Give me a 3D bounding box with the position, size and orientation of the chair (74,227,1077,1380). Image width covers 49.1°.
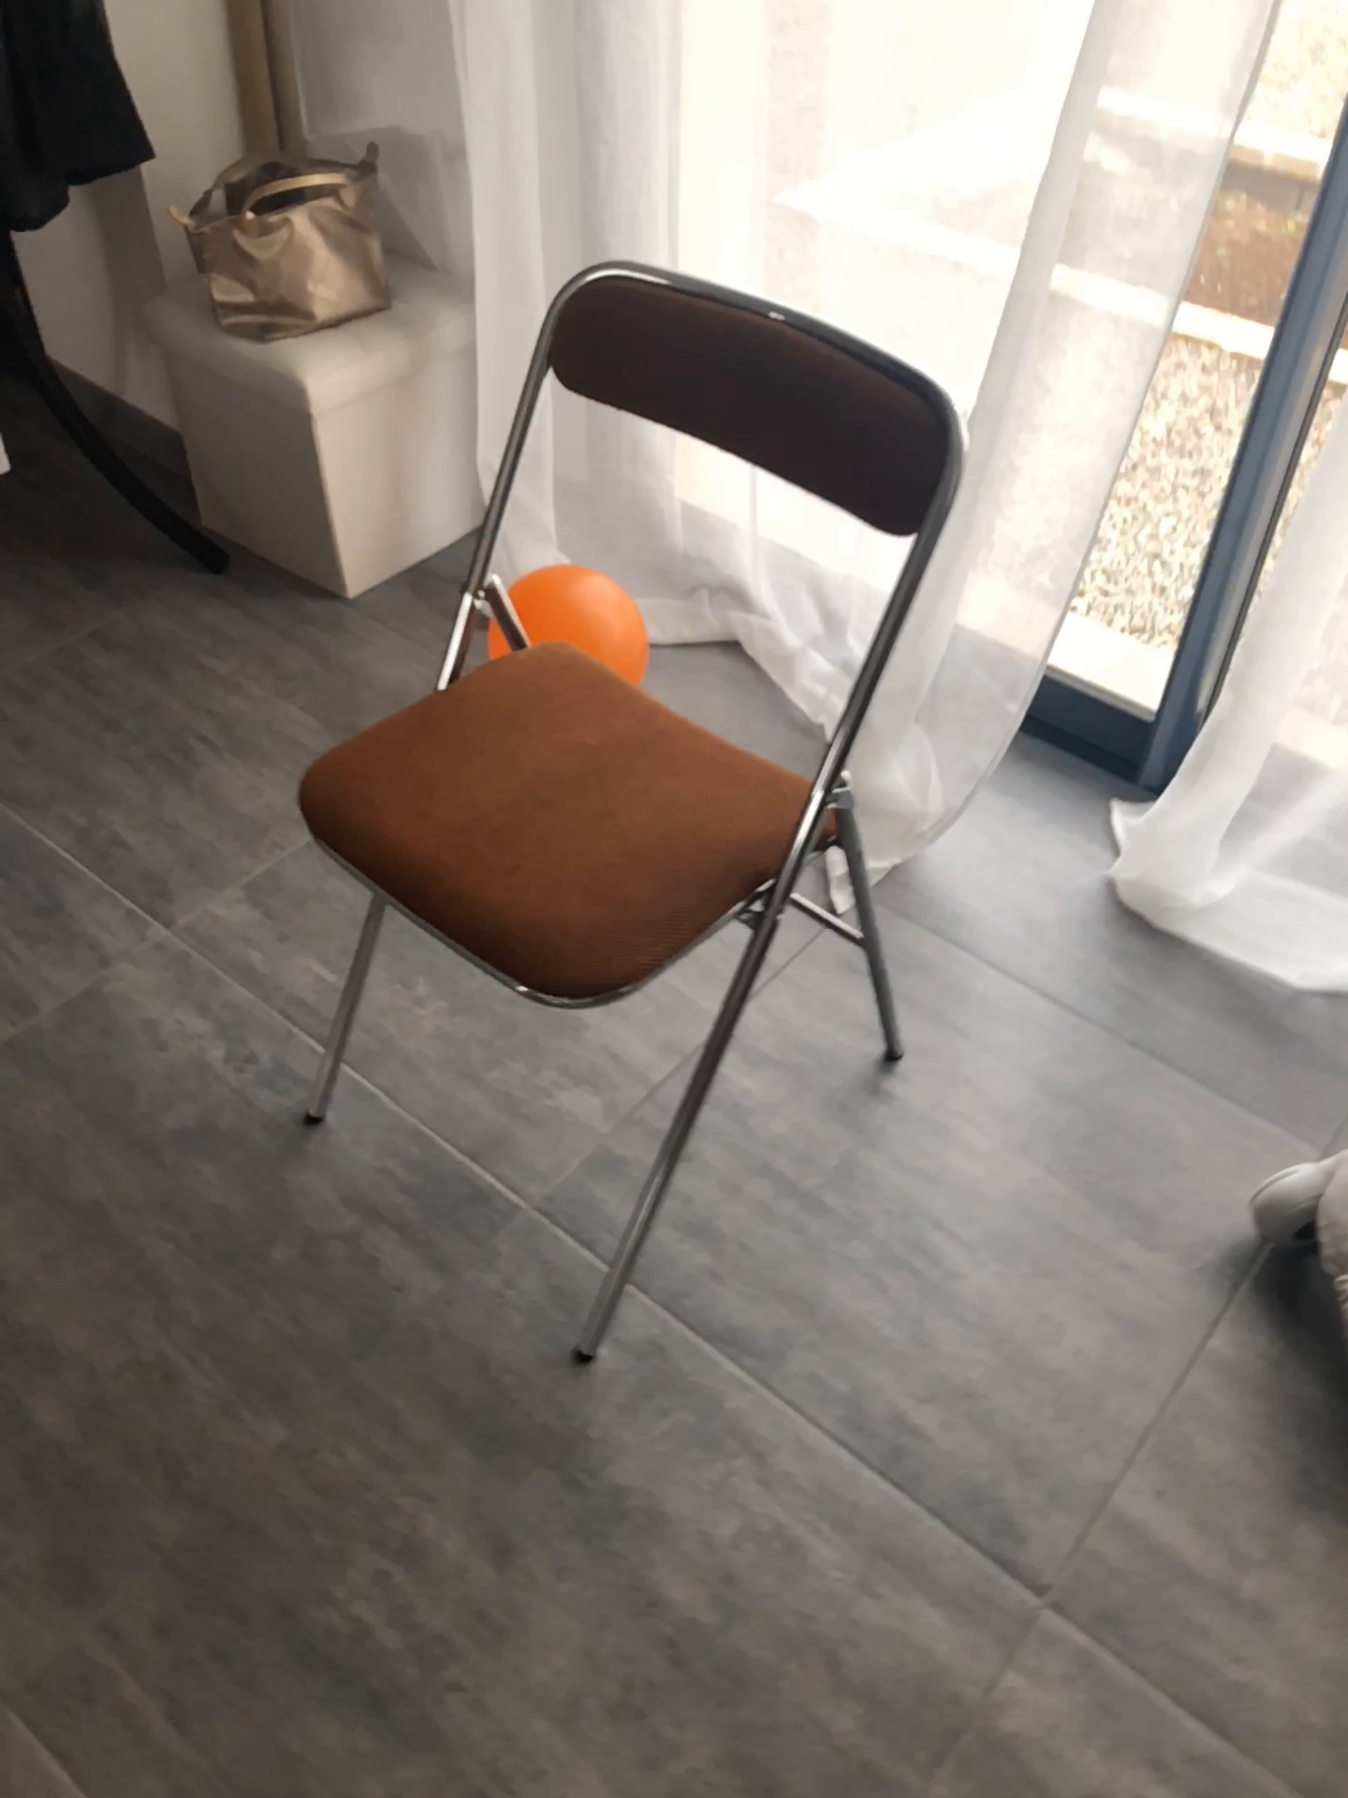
[{"bbox_3d":[-0.068,-0.089,1.330,0.480,0.735,0.553,33,52,28],"label":"chair"}]
